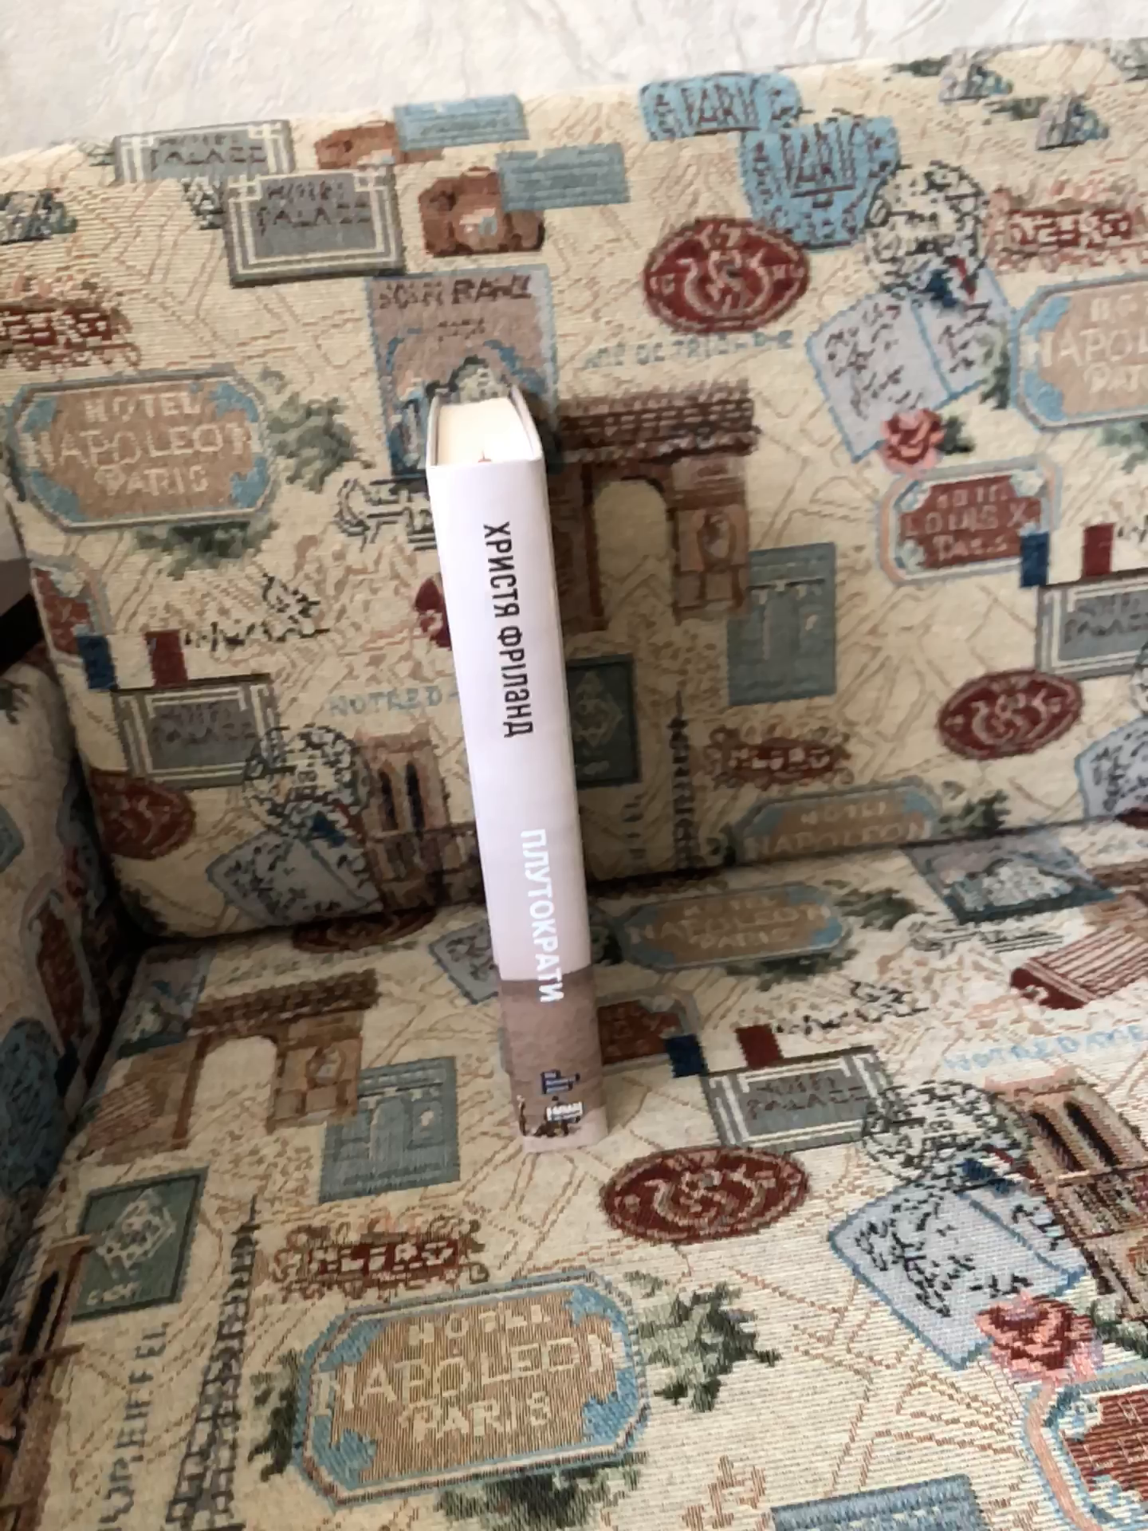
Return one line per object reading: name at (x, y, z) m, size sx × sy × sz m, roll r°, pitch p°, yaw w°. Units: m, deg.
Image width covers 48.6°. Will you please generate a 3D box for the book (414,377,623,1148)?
book at (-0.020, -0.011, 0.433) m, size 0.036 × 0.215 × 0.158 m, roll -7°, pitch 23°, yaw -3°
